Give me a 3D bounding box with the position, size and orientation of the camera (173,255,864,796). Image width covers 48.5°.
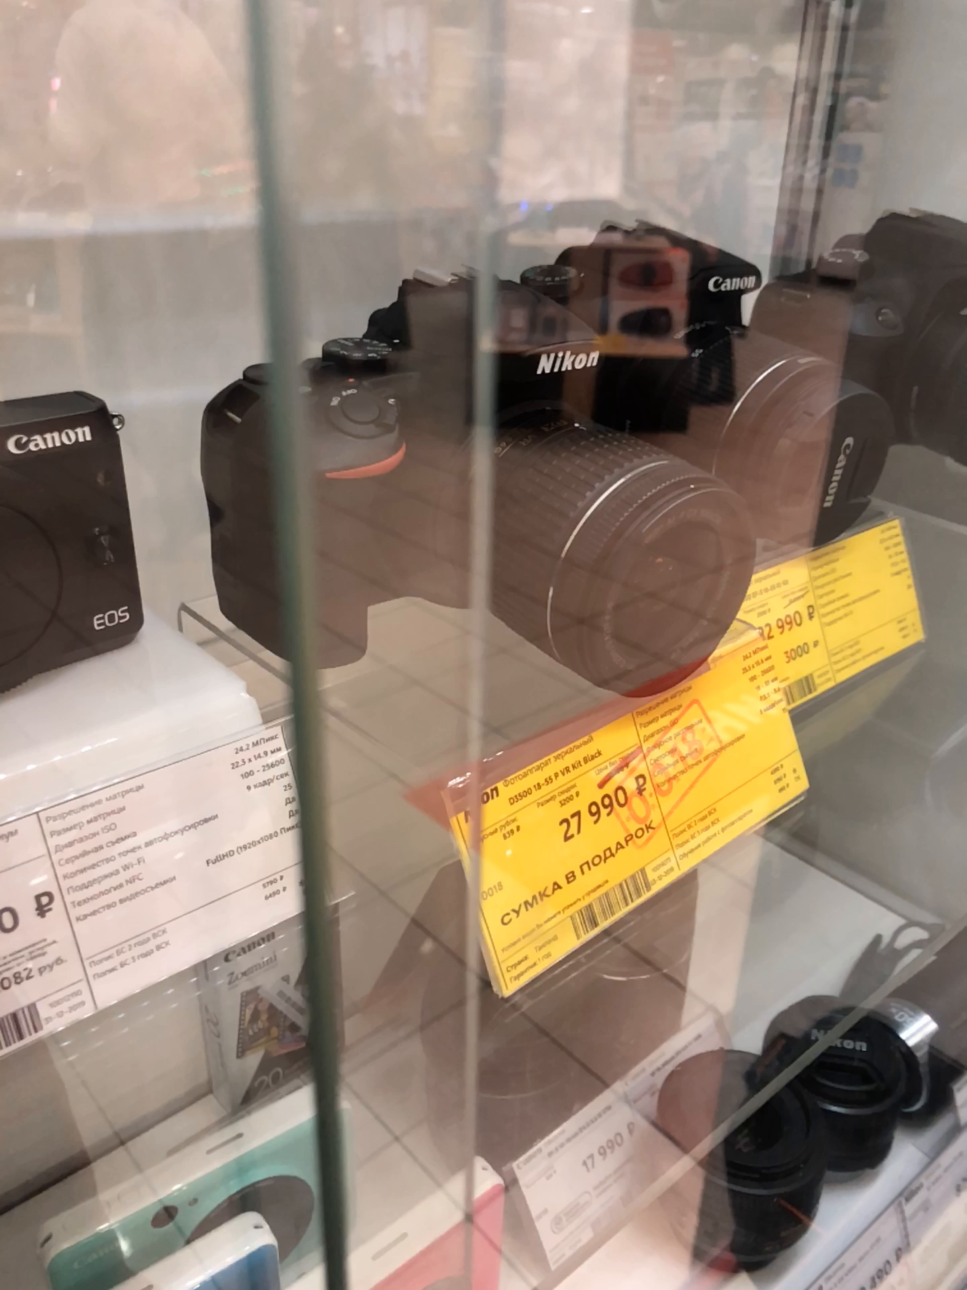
[{"bbox_3d":[0.007,-0.048,0.295,0.130,0.092,0.120,-20,34,-36],"label":"camera"}]
